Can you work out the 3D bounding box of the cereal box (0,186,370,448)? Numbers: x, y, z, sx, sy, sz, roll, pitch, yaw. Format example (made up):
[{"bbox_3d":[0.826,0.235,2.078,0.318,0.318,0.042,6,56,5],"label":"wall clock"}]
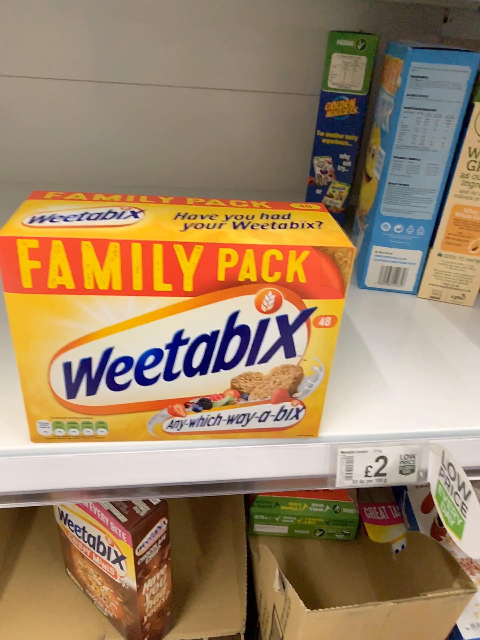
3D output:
[{"bbox_3d":[-0.051,0.002,0.409,0.260,0.188,0.091,1,31,-7],"label":"cereal box"}]
